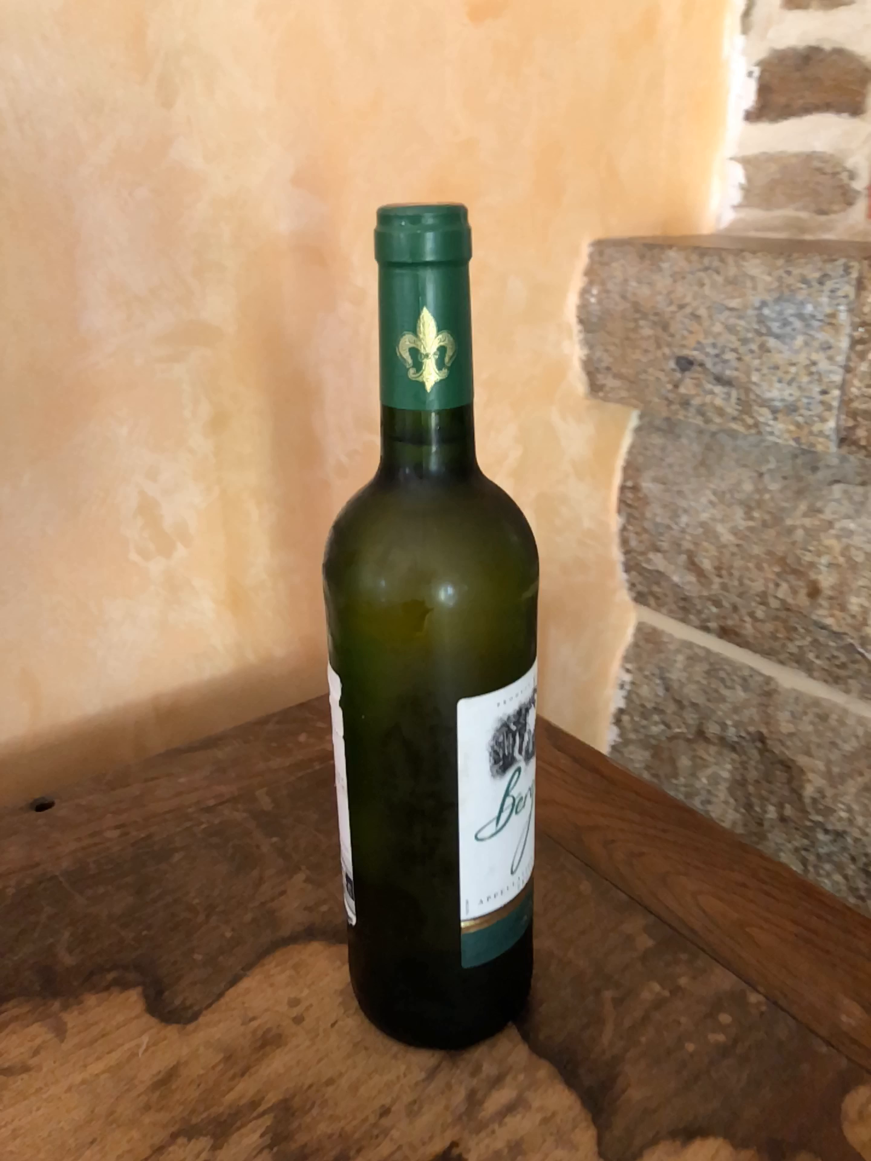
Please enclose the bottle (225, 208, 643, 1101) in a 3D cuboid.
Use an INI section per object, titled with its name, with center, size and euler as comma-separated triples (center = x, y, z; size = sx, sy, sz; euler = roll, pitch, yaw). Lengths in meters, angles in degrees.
[bottle]
center = 0.005, 0.022, 0.317
size = 0.090, 0.269, 0.091
euler = 0, 21, 0
